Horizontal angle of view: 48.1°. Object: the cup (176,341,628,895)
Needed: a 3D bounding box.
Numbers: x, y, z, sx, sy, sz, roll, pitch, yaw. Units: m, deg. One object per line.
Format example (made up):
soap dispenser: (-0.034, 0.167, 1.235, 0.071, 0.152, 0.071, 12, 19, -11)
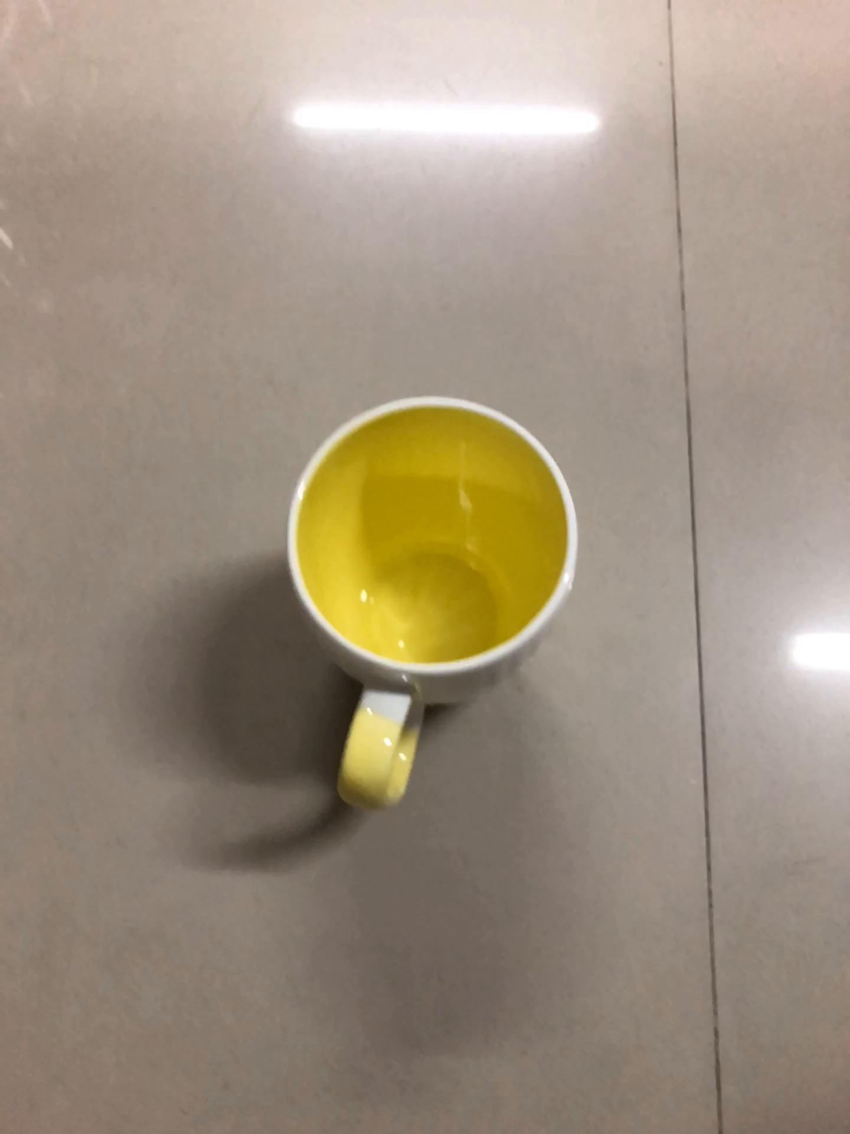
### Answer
cup: (-0.001, 0.018, 0.265, 0.080, 0.080, 0.120, 13, 74, 6)
